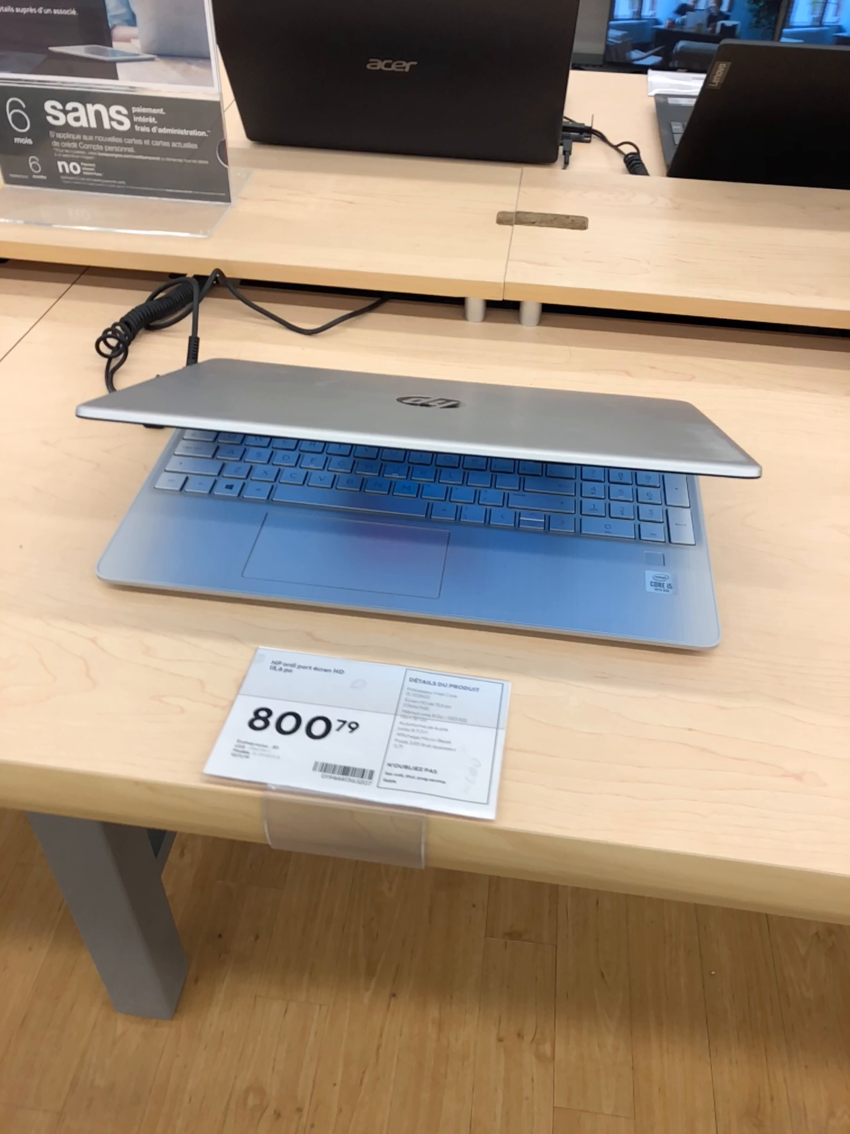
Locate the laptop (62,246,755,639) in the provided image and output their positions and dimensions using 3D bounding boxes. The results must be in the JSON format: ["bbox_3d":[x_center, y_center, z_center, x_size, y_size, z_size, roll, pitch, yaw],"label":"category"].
[{"bbox_3d":[0.002,-0.088,0.563,0.340,0.086,0.225,6,44,4],"label":"laptop"}]
